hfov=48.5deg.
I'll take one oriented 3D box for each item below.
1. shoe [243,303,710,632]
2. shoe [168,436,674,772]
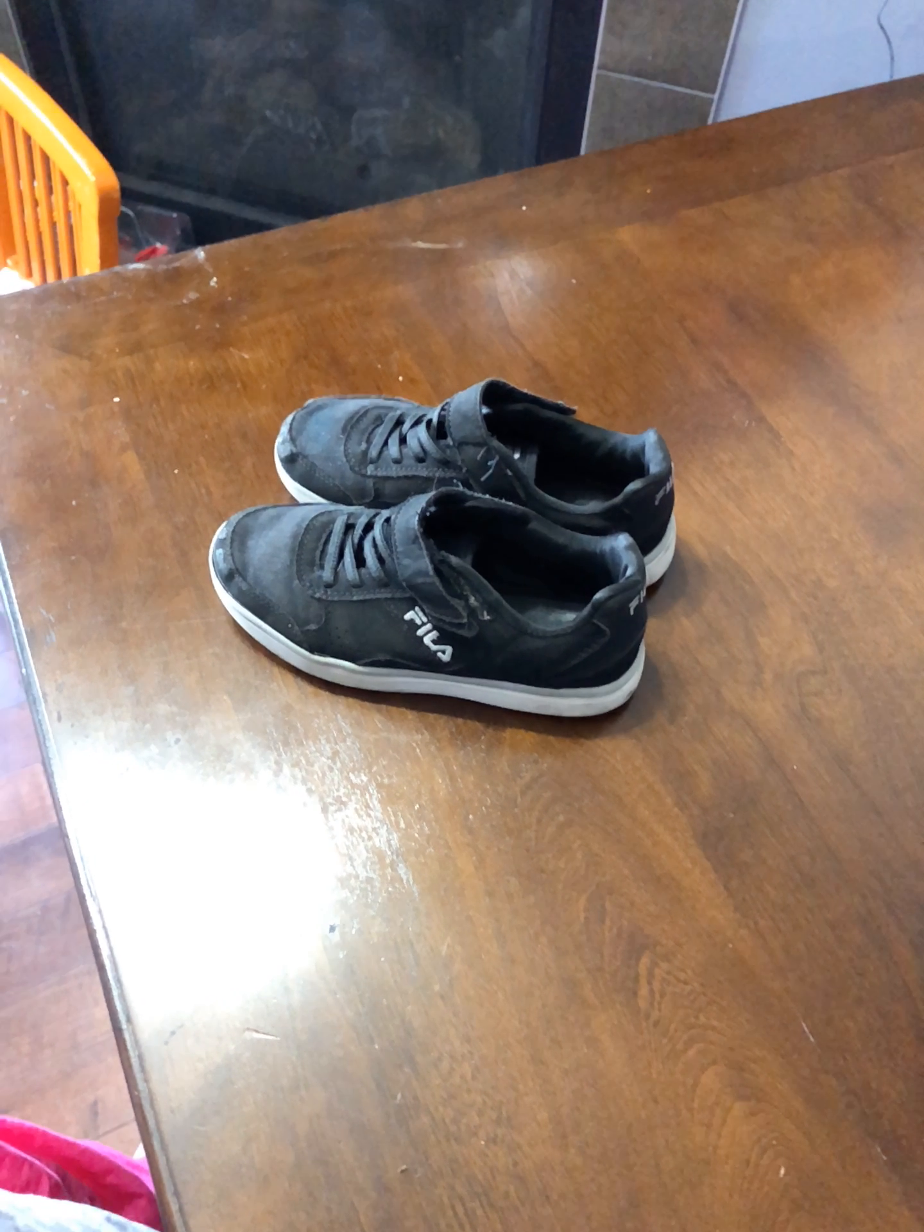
[{"bbox_3d":[0.008,-0.078,0.531,0.210,0.080,0.090,16,58,7],"label":"shoe"},{"bbox_3d":[-0.016,-0.006,0.491,0.210,0.080,0.090,12,57,5],"label":"shoe"}]
